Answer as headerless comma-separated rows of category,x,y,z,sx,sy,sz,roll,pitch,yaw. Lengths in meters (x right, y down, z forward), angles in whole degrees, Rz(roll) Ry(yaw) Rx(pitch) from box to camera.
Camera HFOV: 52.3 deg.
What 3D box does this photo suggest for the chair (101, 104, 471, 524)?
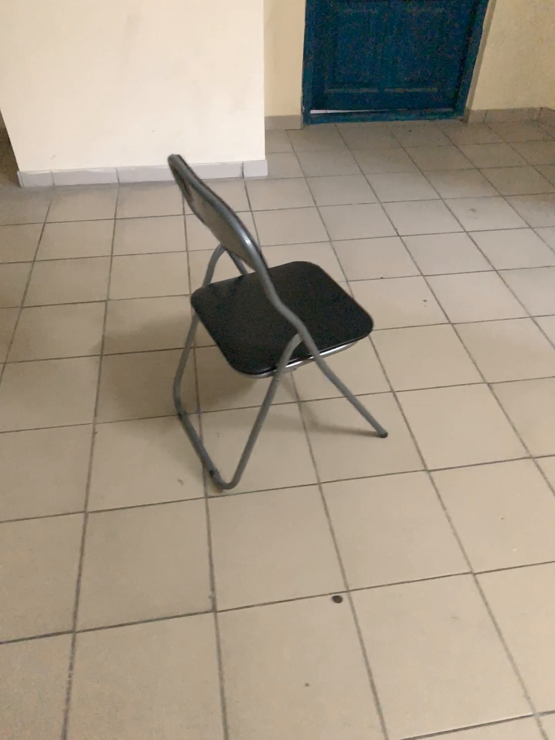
chair,-0.019,-0.150,1.403,0.560,0.726,0.572,-18,47,-19
